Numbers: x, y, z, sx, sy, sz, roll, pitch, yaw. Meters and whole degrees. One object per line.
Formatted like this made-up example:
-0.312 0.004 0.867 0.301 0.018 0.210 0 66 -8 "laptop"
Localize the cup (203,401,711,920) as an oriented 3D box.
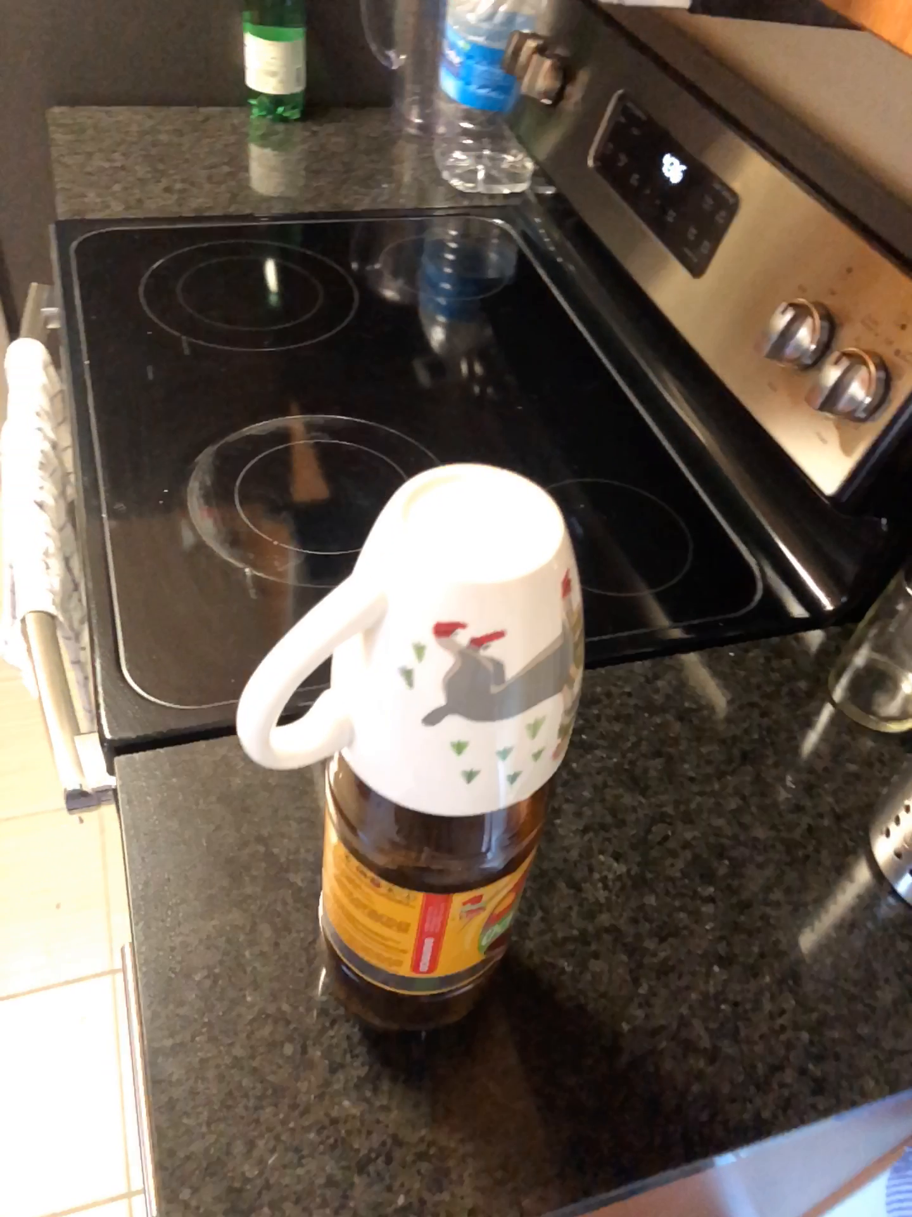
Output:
-0.004 0.014 0.377 0.140 0.109 0.100 -27 57 -31 "cup"
